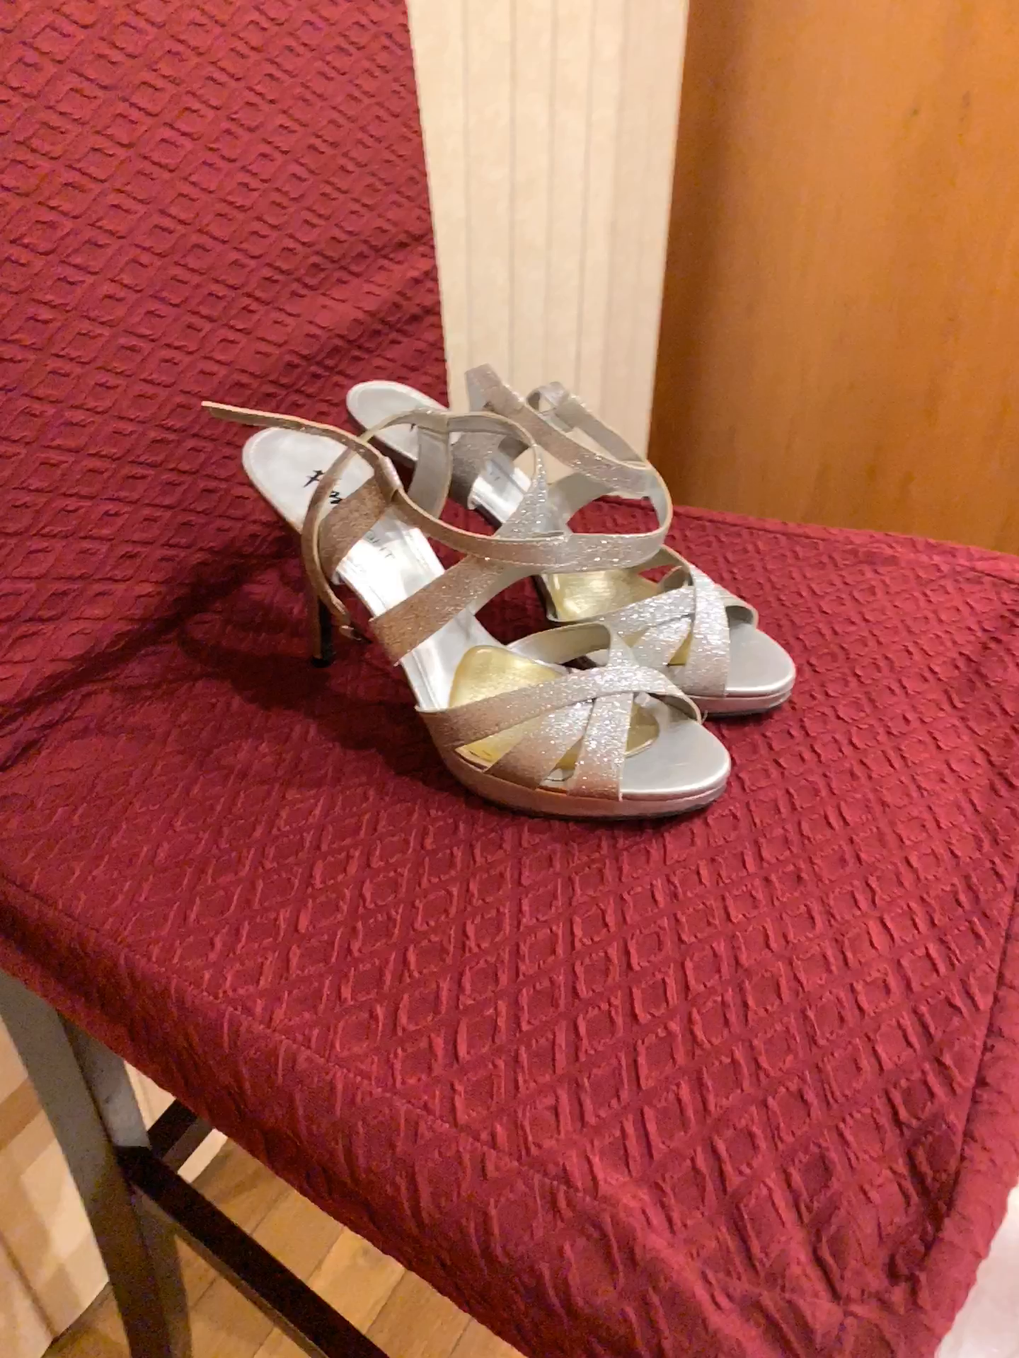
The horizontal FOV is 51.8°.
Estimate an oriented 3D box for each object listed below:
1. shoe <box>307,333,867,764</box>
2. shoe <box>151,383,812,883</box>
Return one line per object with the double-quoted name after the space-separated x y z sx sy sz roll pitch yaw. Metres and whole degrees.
0.031 -0.069 0.488 0.220 0.119 0.100 18 39 22 "shoe"
-0.012 -0.029 0.432 0.230 0.119 0.100 16 39 20 "shoe"
